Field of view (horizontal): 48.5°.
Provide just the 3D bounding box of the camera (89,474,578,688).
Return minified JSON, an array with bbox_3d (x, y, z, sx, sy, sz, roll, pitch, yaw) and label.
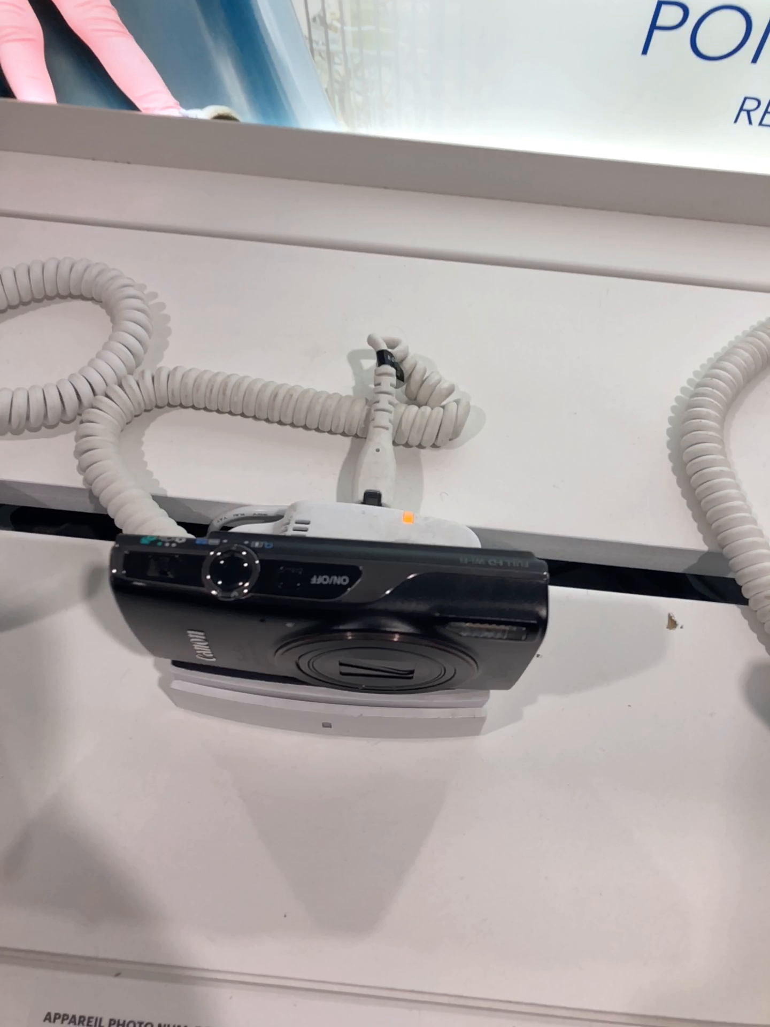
[{"bbox_3d":[-0.012,0.020,0.228,0.113,0.057,0.026,4,59,0],"label":"camera"}]
